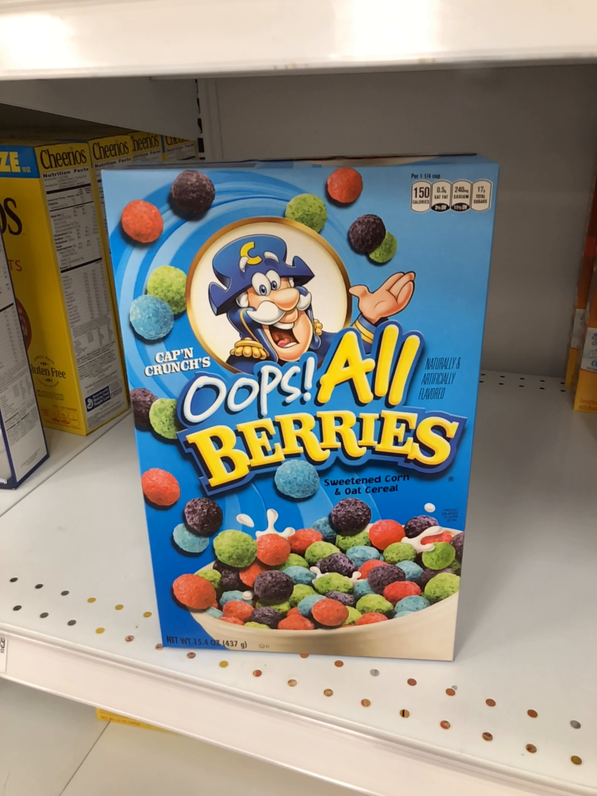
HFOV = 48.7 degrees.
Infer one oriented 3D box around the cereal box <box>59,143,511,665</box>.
[{"bbox_3d":[0.000,0.015,0.420,0.220,0.319,0.080,0,25,6],"label":"cereal box"}]
